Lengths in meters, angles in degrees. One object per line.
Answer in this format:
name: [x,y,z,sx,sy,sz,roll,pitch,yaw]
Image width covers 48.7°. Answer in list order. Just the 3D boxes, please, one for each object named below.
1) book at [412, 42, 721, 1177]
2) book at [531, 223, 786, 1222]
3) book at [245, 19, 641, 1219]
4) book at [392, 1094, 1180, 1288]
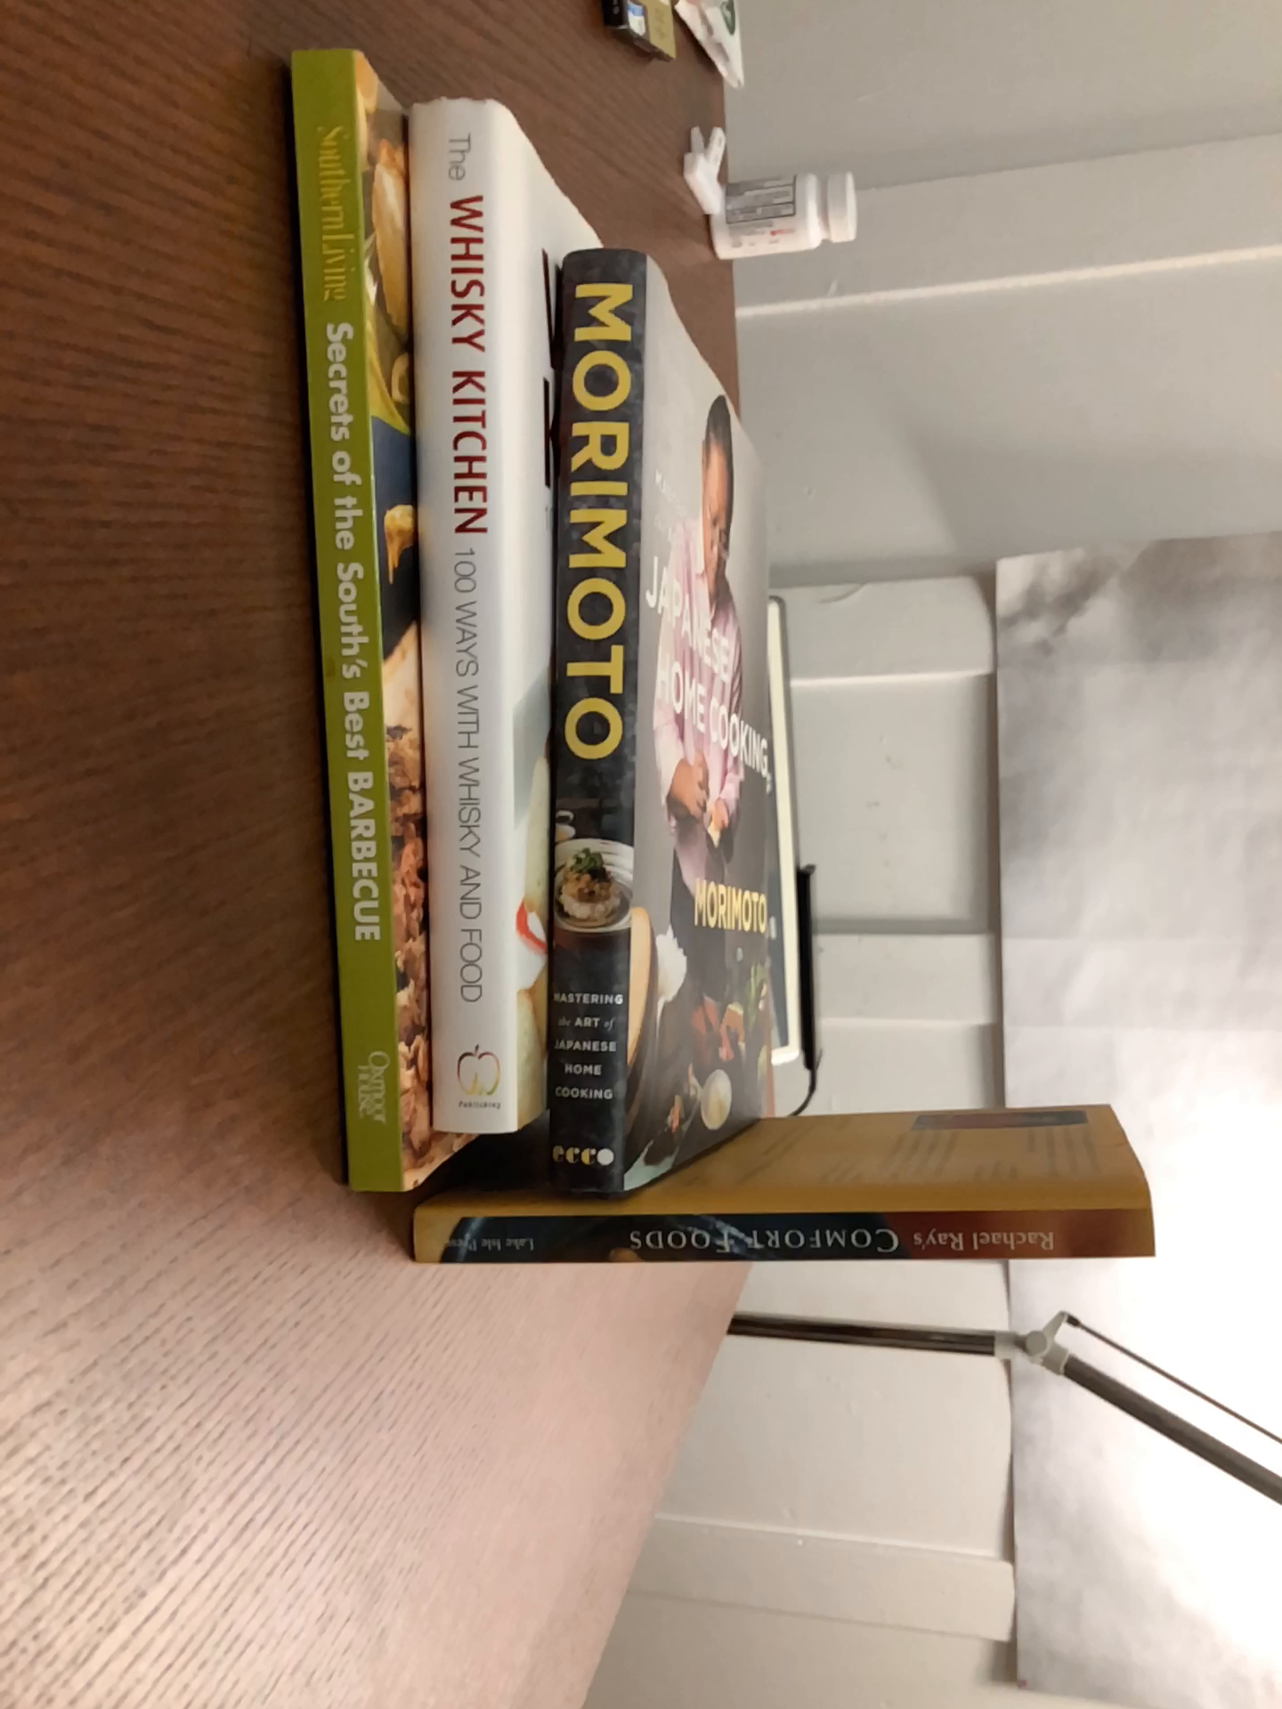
book: [-0.012,-0.064,0.462,0.221,0.030,0.280,-11,101,-74]
book: [0.016,-0.035,0.505,0.221,0.030,0.280,9,82,-74]
book: [-0.046,-0.060,0.444,0.221,0.030,0.280,-19,108,-74]
book: [0.057,0.106,0.478,0.211,0.209,0.030,18,69,-75]
